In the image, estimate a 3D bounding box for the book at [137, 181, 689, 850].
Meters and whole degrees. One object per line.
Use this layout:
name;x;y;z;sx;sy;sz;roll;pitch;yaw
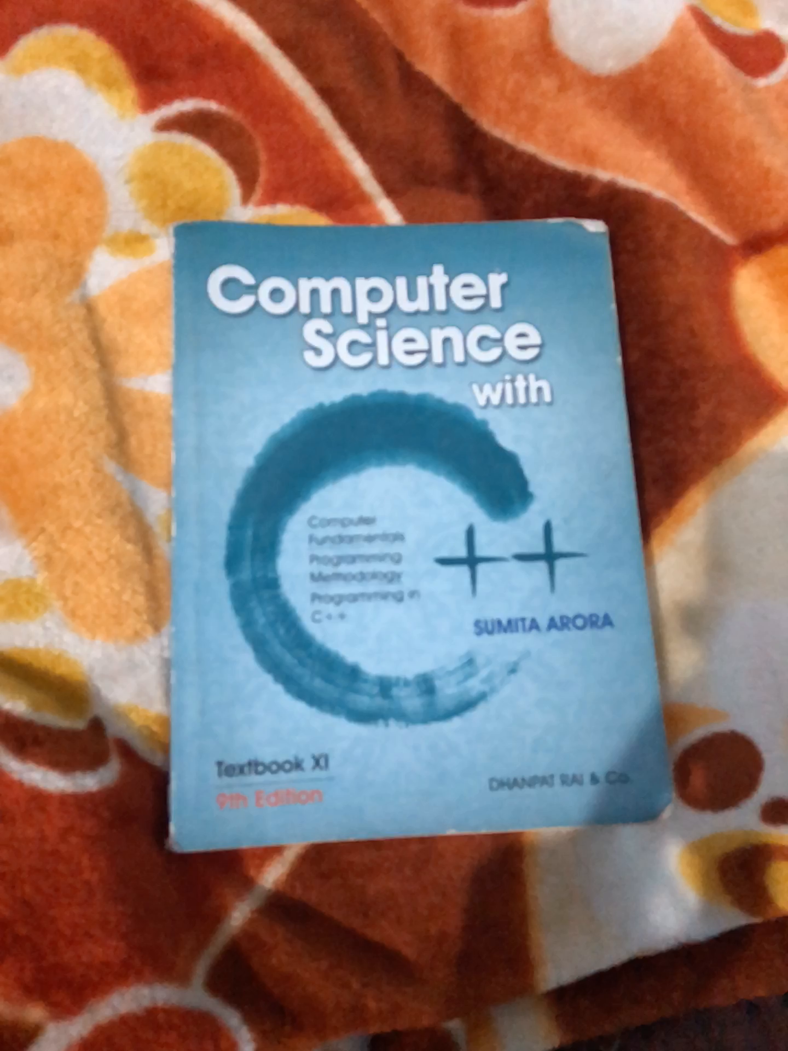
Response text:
book;0.003;-0.013;0.372;0.210;0.040;0.270;-1;79;-6
